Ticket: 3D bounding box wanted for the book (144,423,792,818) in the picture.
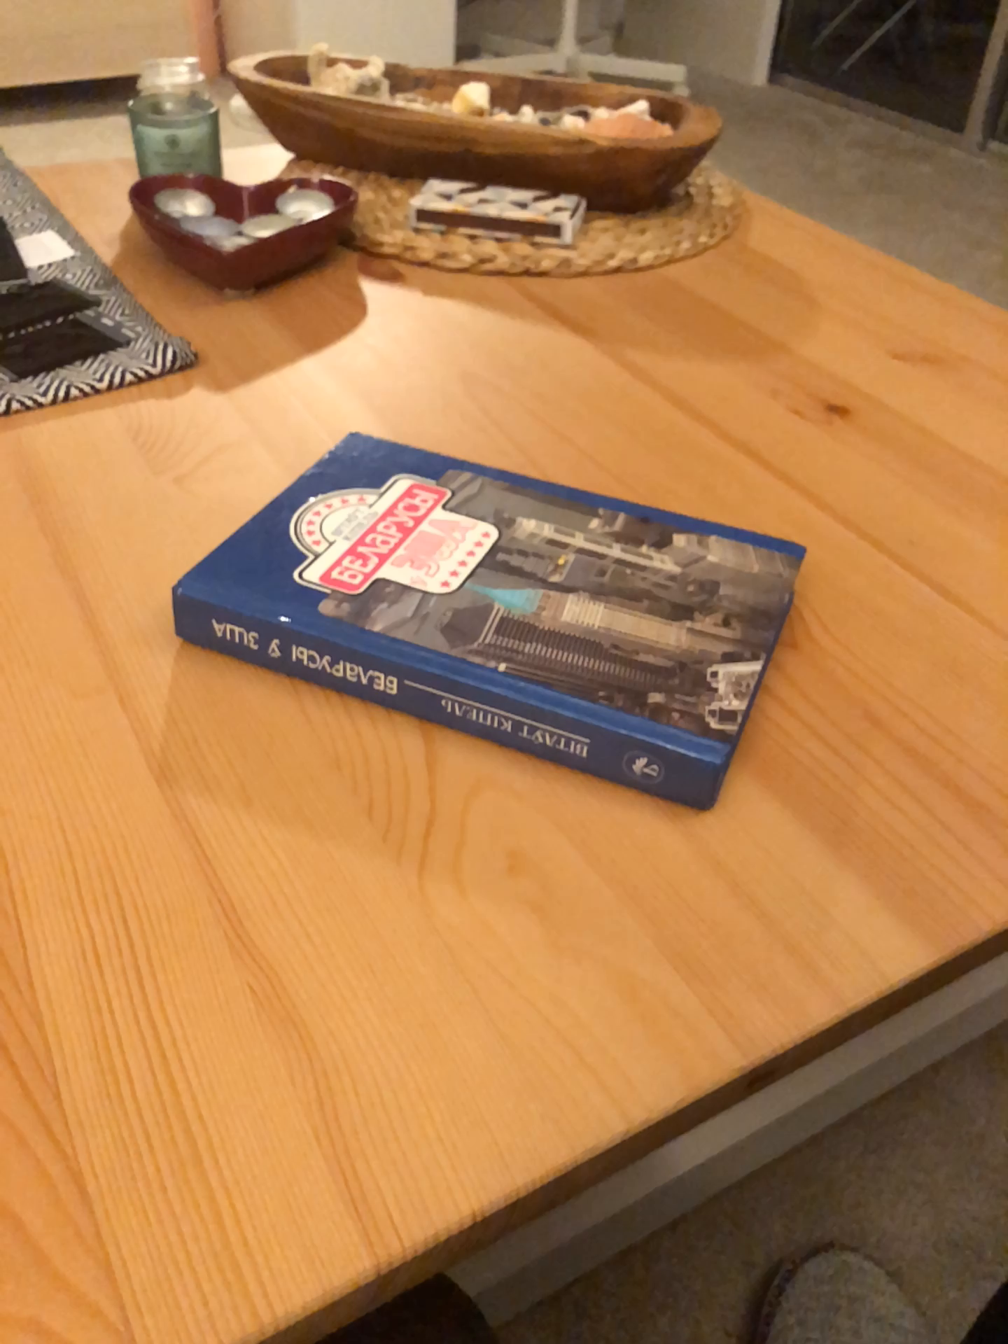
[{"bbox_3d":[-0.009,-0.034,0.465,0.224,0.030,0.147,17,41,15],"label":"book"}]
